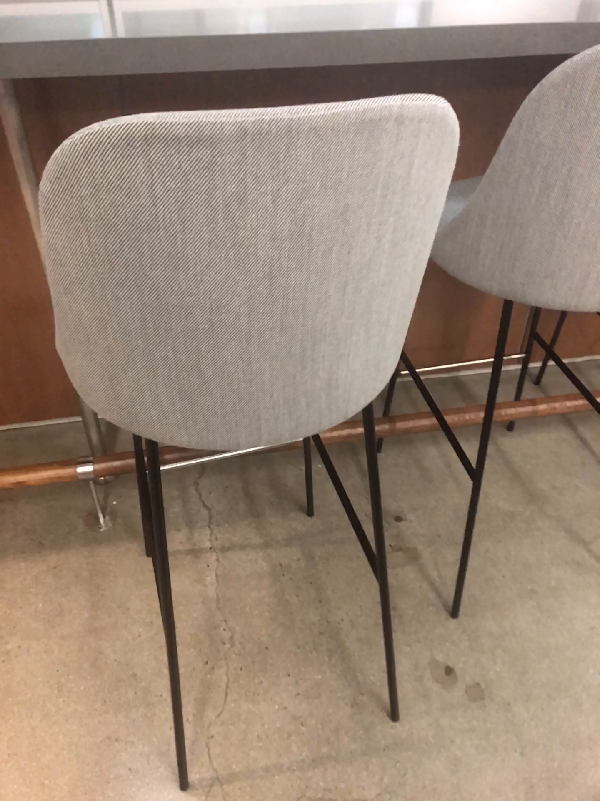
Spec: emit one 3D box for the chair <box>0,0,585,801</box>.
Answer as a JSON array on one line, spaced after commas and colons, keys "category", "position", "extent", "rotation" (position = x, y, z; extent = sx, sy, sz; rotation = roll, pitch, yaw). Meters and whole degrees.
[{"category": "chair", "position": [-0.110, 0.022, 1.042], "extent": [0.511, 1.090, 0.635], "rotation": [-10, 40, -13]}]
